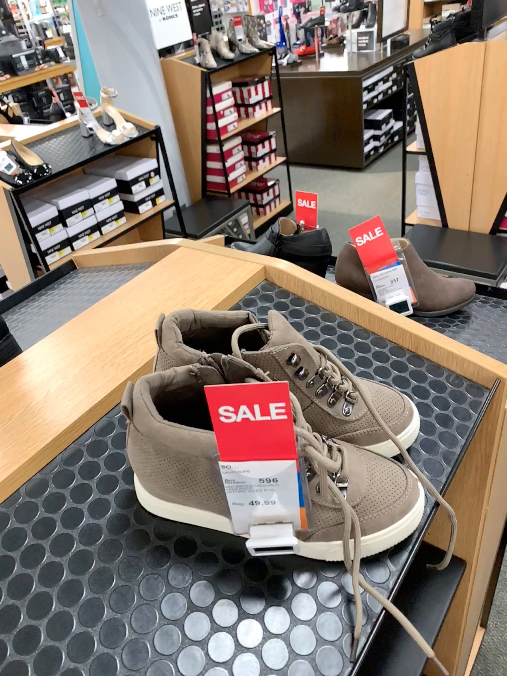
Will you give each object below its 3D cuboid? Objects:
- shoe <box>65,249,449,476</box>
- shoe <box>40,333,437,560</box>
[{"bbox_3d":[0.008,0.028,0.481,0.290,0.160,0.101,-5,42,4],"label":"shoe"},{"bbox_3d":[-0.003,0.094,0.426,0.260,0.160,0.101,-3,42,8],"label":"shoe"}]
